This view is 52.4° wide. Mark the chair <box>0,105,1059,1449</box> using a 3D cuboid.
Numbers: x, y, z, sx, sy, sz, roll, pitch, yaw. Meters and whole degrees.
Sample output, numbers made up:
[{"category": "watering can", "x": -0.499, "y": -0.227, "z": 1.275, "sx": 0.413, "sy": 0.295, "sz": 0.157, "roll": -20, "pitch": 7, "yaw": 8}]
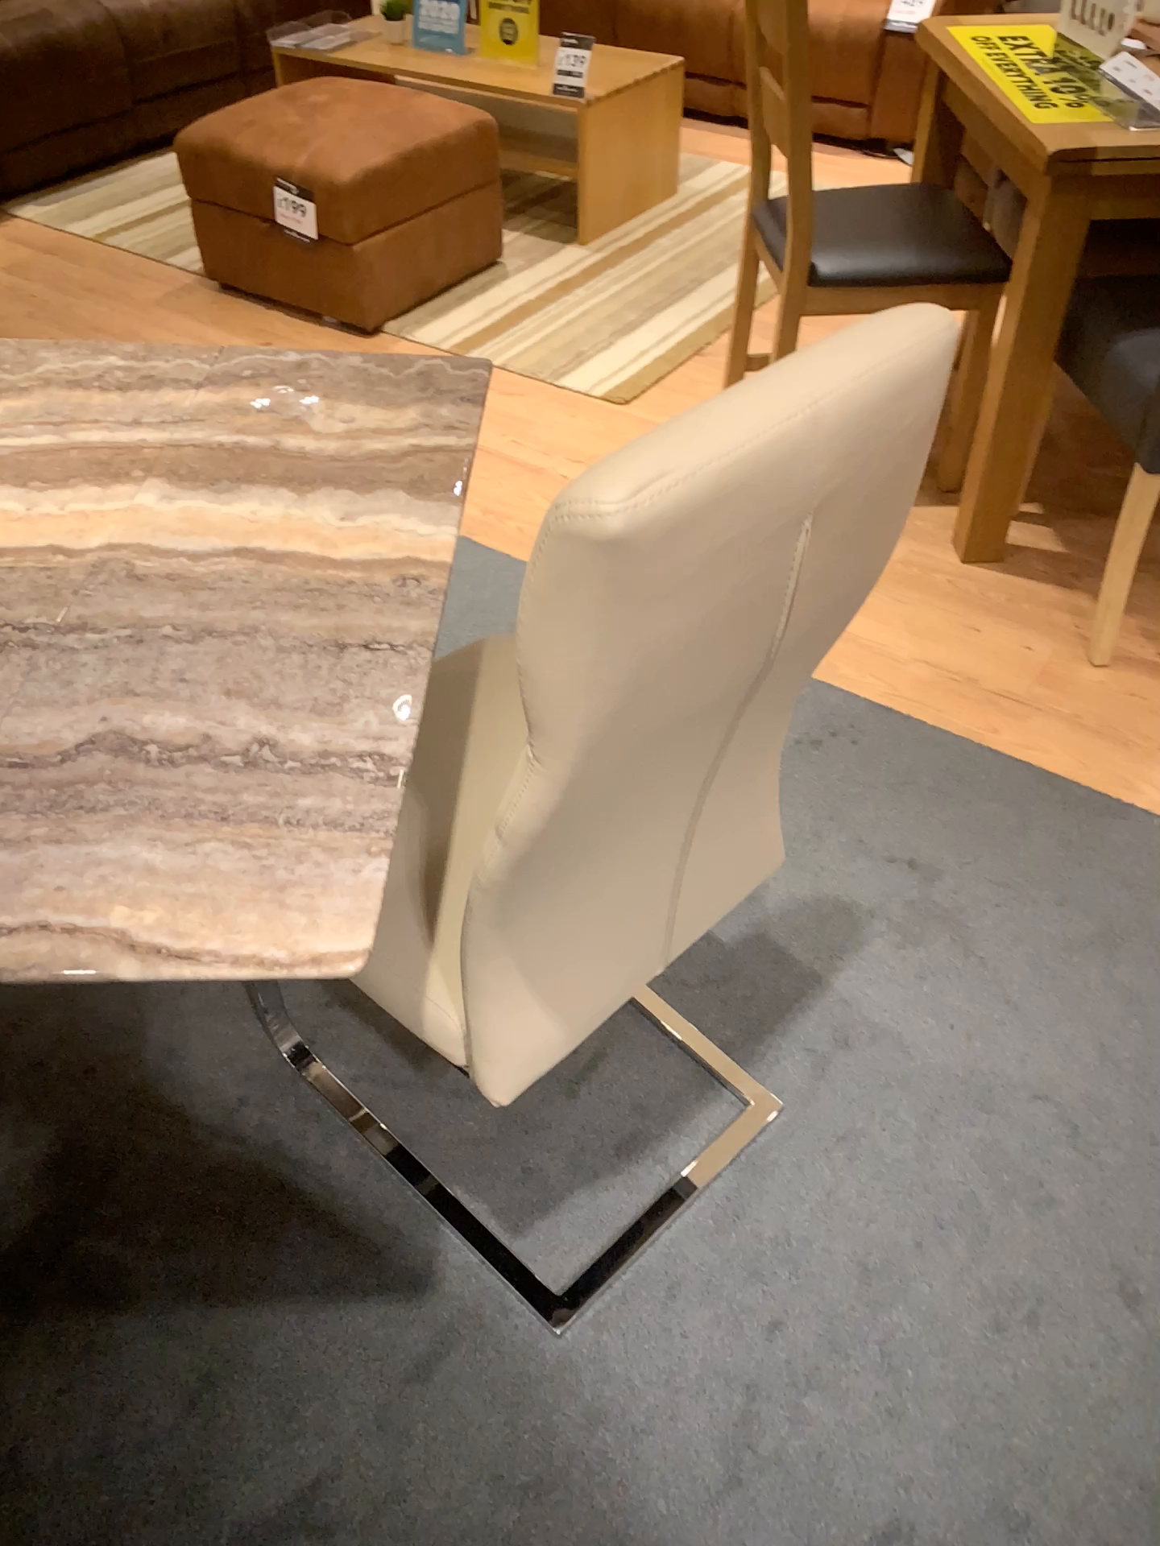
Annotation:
[{"category": "chair", "x": -0.074, "y": 0.039, "z": 1.069, "sx": 0.476, "sy": 0.973, "sz": 0.572, "roll": -34, "pitch": 52, "yaw": -30}]
